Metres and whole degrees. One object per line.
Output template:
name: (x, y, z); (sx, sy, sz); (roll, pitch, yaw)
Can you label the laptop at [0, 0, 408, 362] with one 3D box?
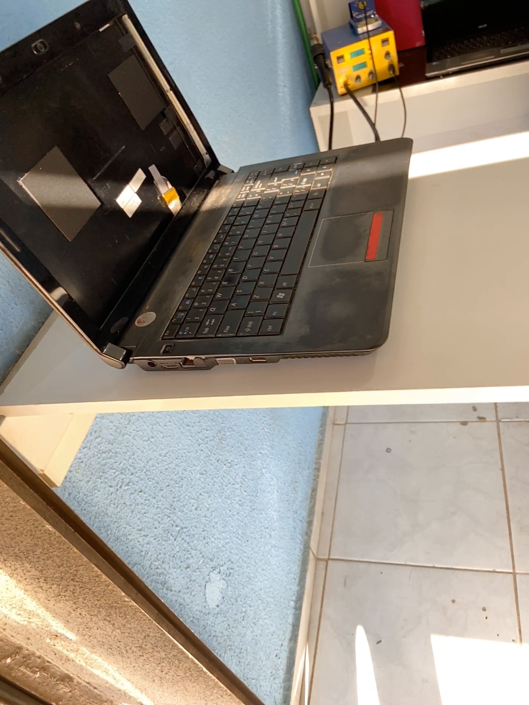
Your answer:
laptop: (-0.040, -0.191, 0.482); (0.276, 0.216, 0.336); (-3, 42, 21)
